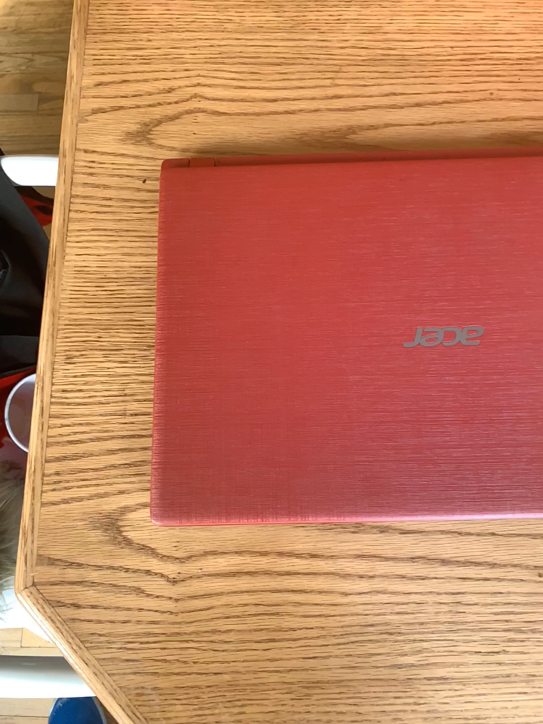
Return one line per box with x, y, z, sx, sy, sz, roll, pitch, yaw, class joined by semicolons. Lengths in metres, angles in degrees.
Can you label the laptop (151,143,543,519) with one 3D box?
0.106;-0.023;0.359;0.362;0.013;0.236;-1;79;3;laptop
